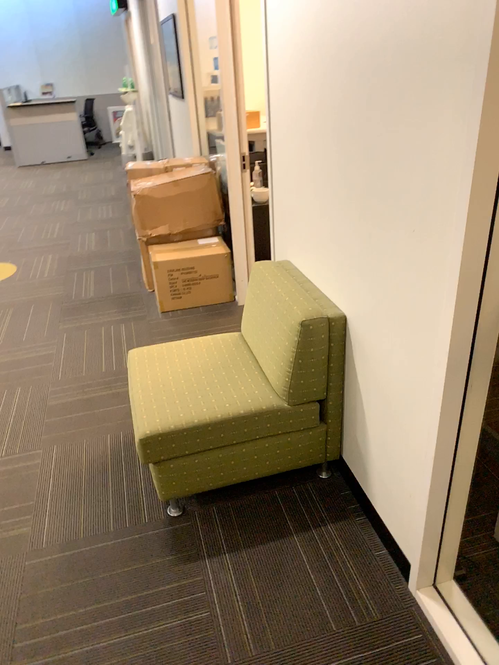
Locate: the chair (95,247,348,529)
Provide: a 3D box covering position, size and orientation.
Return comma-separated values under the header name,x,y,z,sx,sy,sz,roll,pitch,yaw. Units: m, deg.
name,x,y,z,sx,sy,sz,roll,pitch,yaw
chair,-0.138,0.155,2.027,0.780,0.686,0.734,-11,29,-13
